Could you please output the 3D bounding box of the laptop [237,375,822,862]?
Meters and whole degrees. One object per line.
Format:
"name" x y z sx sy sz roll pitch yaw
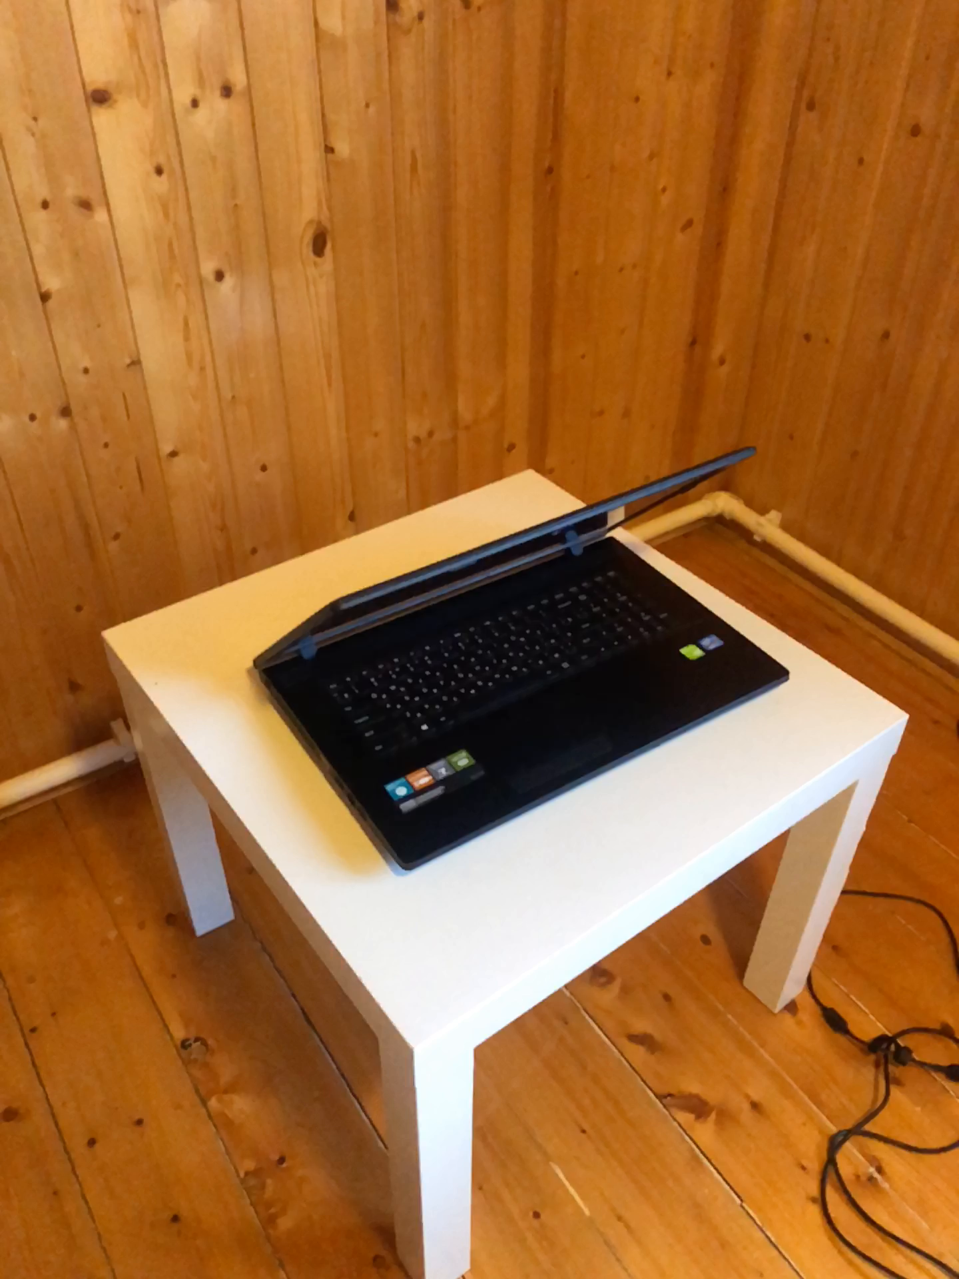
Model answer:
"laptop" 0.043 -0.045 0.891 0.402 0.183 0.252 -22 45 -28
